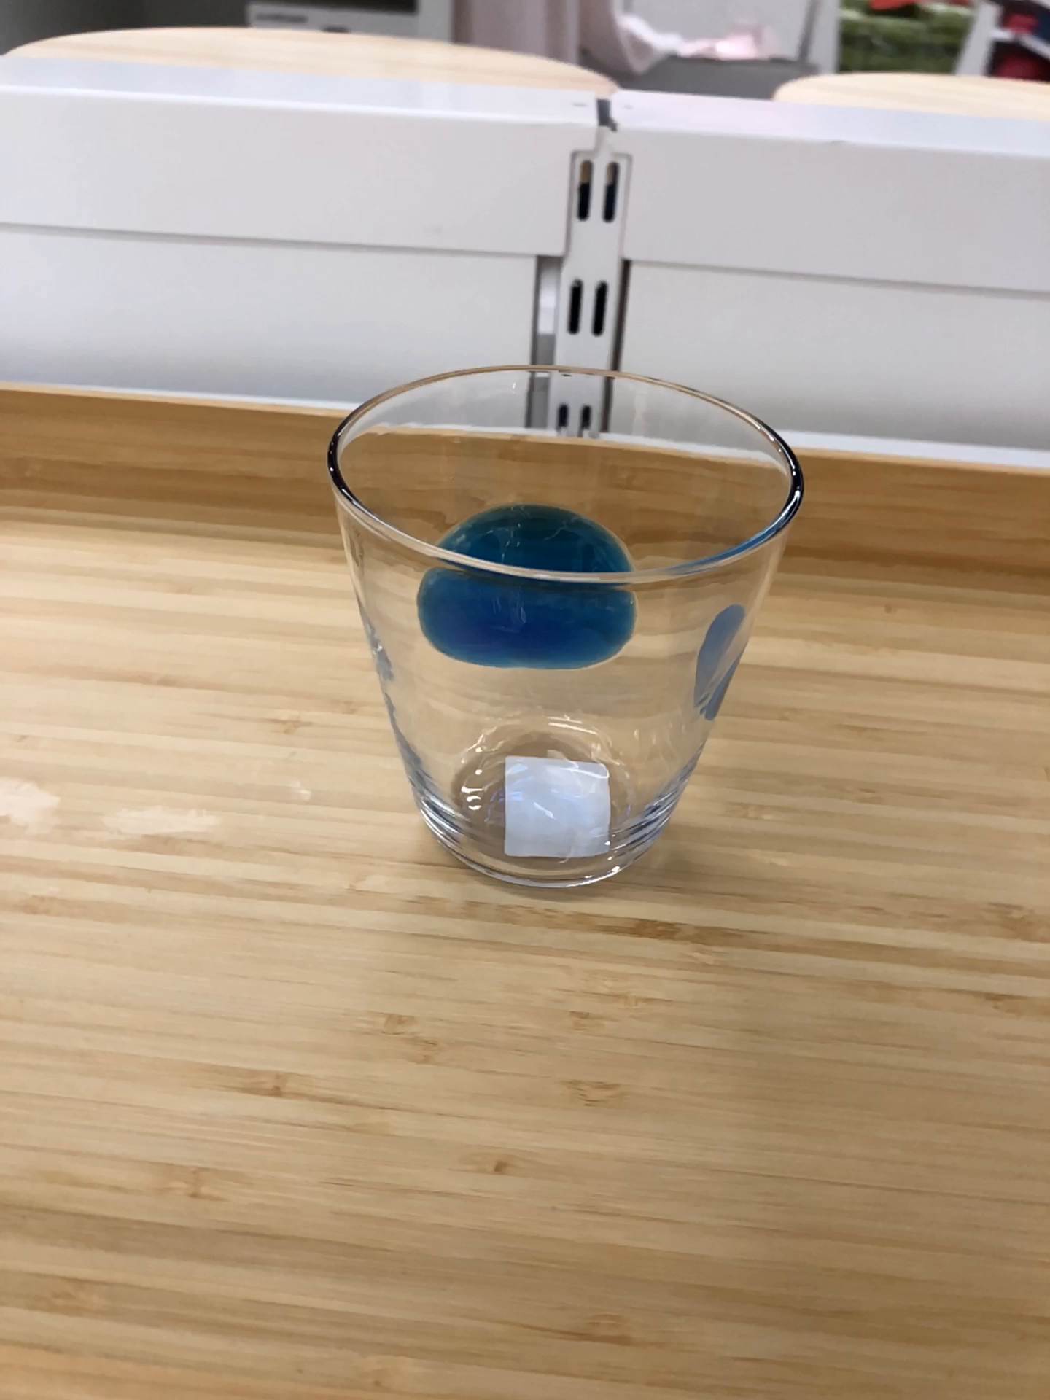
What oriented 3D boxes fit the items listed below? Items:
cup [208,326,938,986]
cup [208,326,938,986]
[{"bbox_3d":[0.011,-0.019,0.244,0.100,0.070,0.100,3,36,-2],"label":"cup"},{"bbox_3d":[0.011,-0.019,0.244,0.100,0.070,0.100,3,36,-2],"label":"cup"}]
